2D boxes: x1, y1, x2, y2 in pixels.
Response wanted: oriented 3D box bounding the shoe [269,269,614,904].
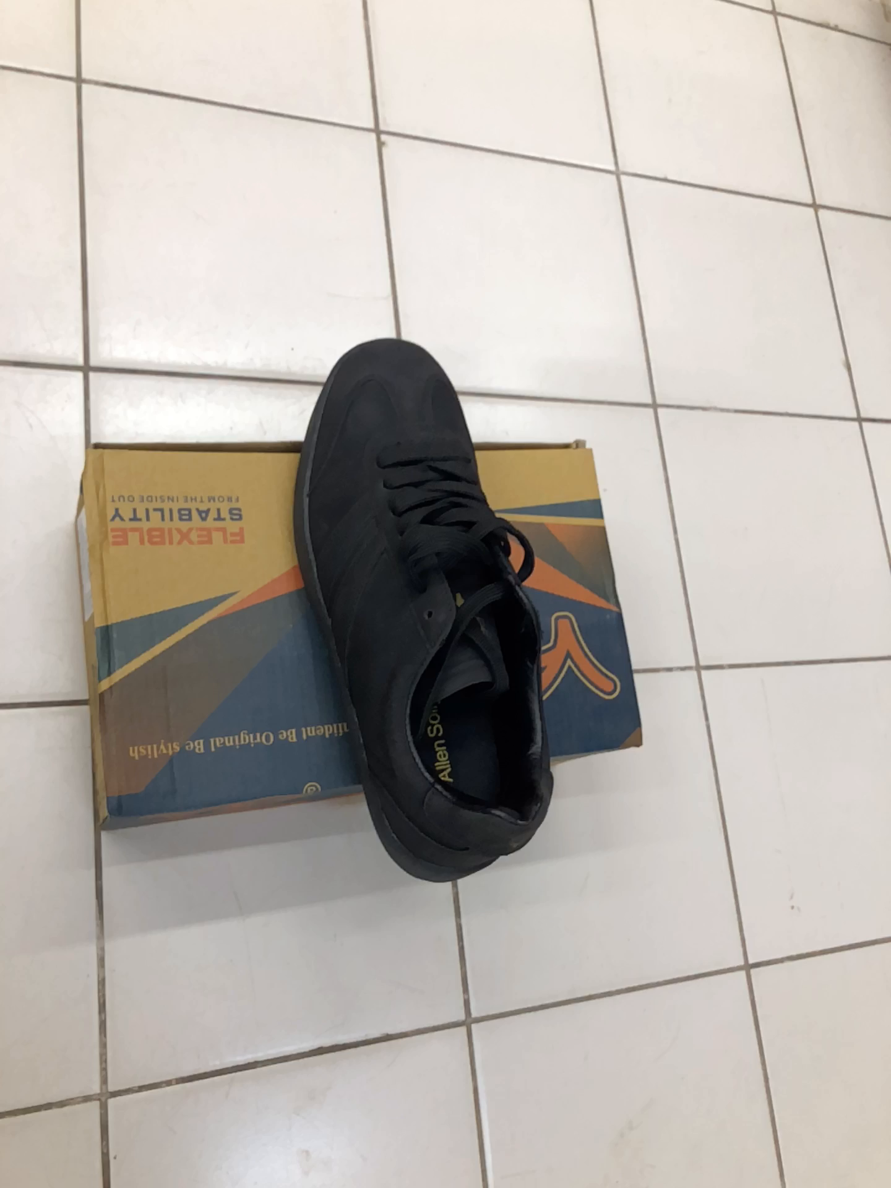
[{"bbox_3d":[-0.009,-0.005,0.443,0.090,0.080,0.260,-5,78,-23],"label":"shoe"}]
